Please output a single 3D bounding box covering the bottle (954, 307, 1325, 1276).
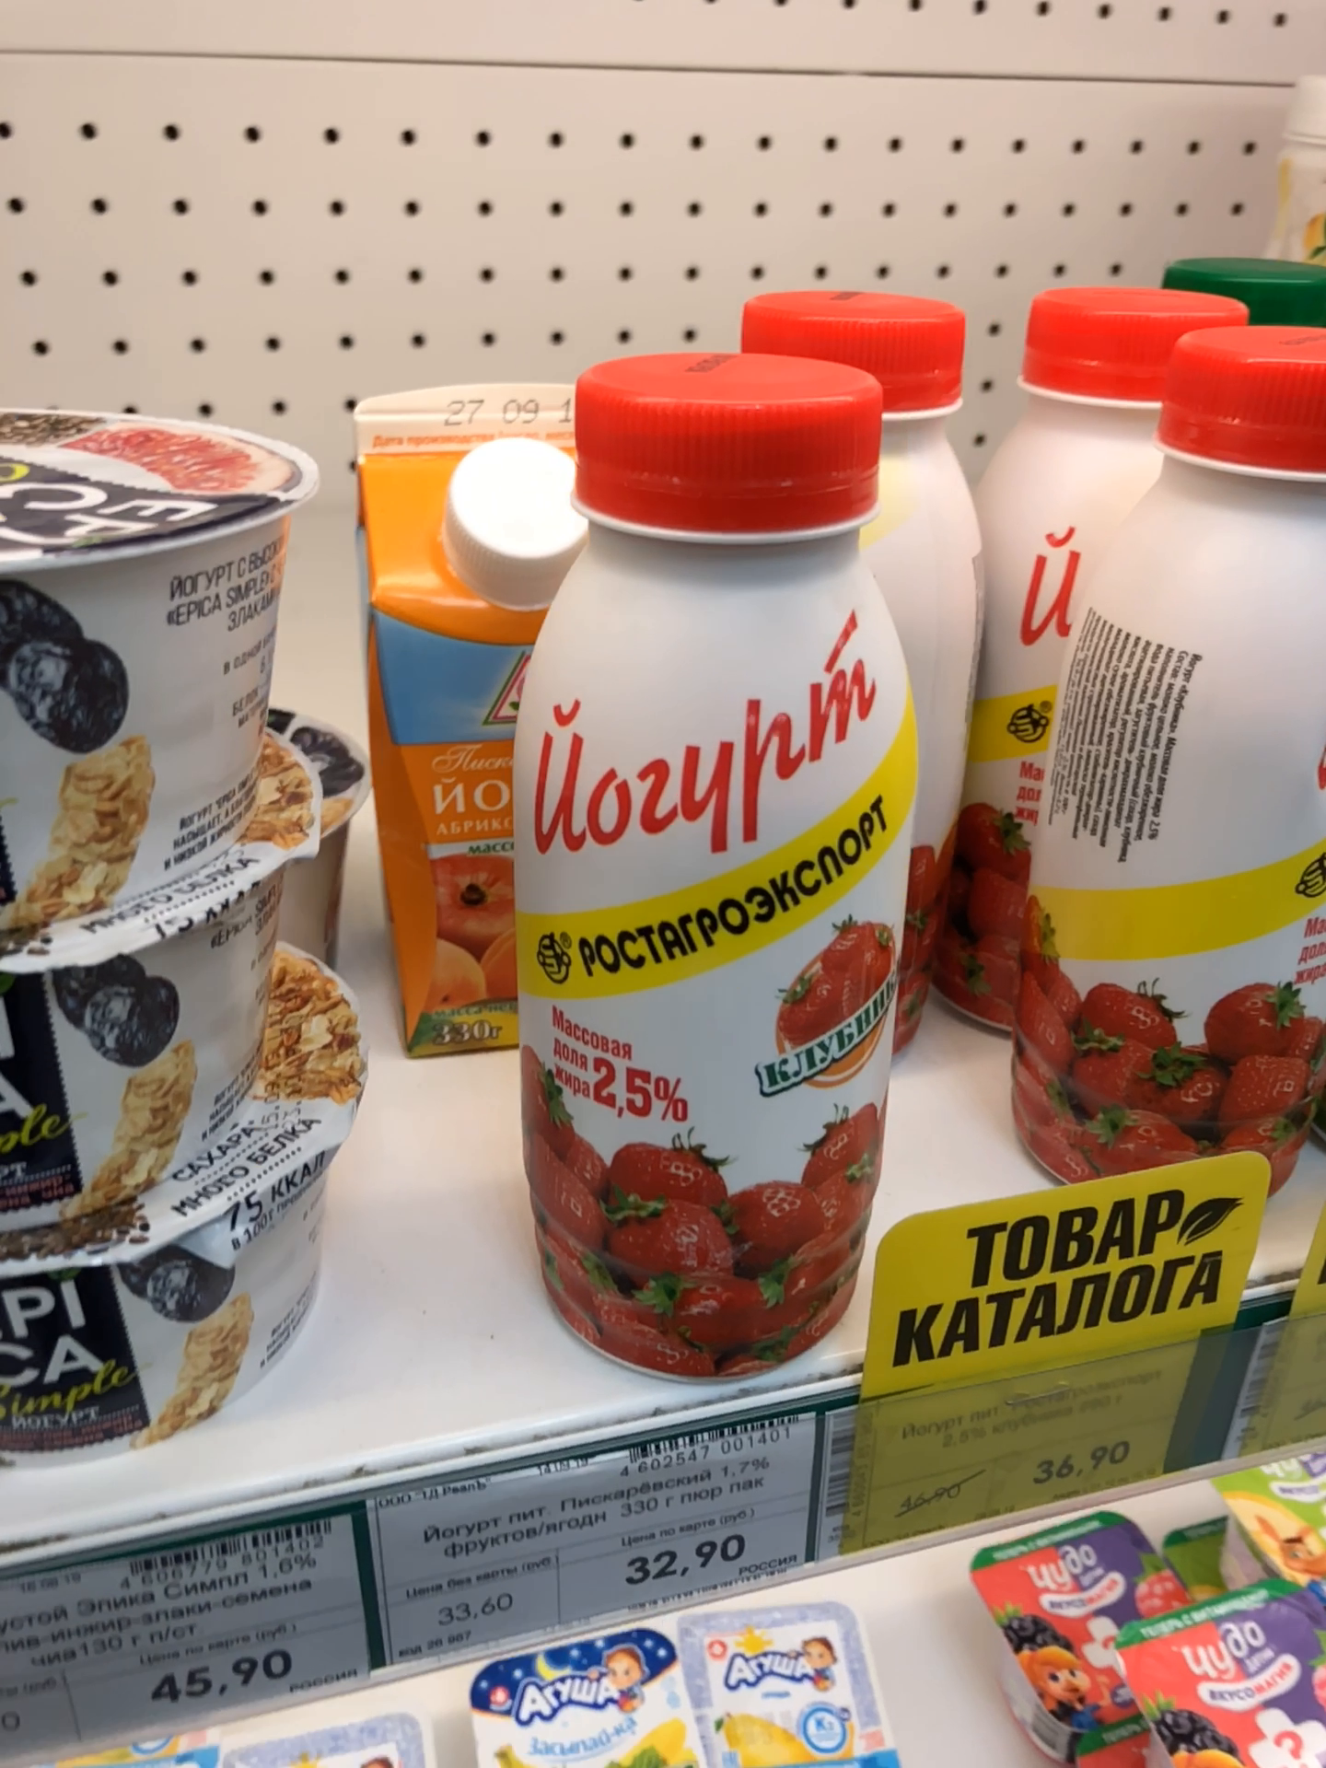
[{"bbox_3d":[0.099,-0.016,0.255,0.058,0.146,0.057,1,29,-1],"label":"bottle"}]

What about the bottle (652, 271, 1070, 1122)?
[{"bbox_3d":[0.035,-0.035,0.285,0.055,0.146,0.053,1,29,-1],"label":"bottle"}]

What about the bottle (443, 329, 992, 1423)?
[{"bbox_3d":[0.009,0.001,0.220,0.058,0.146,0.057,1,29,-1],"label":"bottle"}]
